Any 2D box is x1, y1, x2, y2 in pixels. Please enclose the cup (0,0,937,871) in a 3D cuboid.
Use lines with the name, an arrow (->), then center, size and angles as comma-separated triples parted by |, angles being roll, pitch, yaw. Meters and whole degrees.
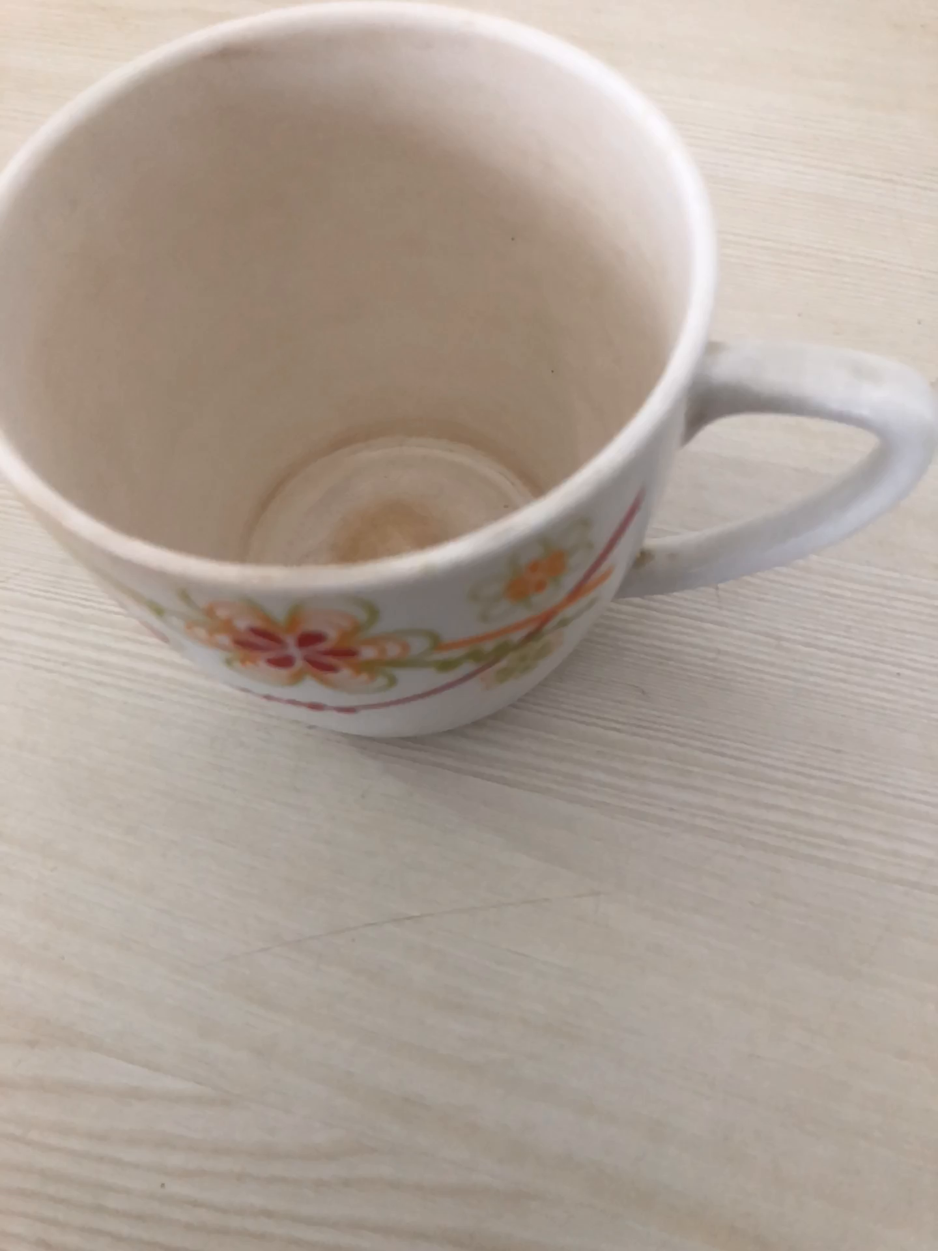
cup -> 0.006, -0.021, 0.129 | 0.110, 0.070, 0.070 | 8, 65, 7
